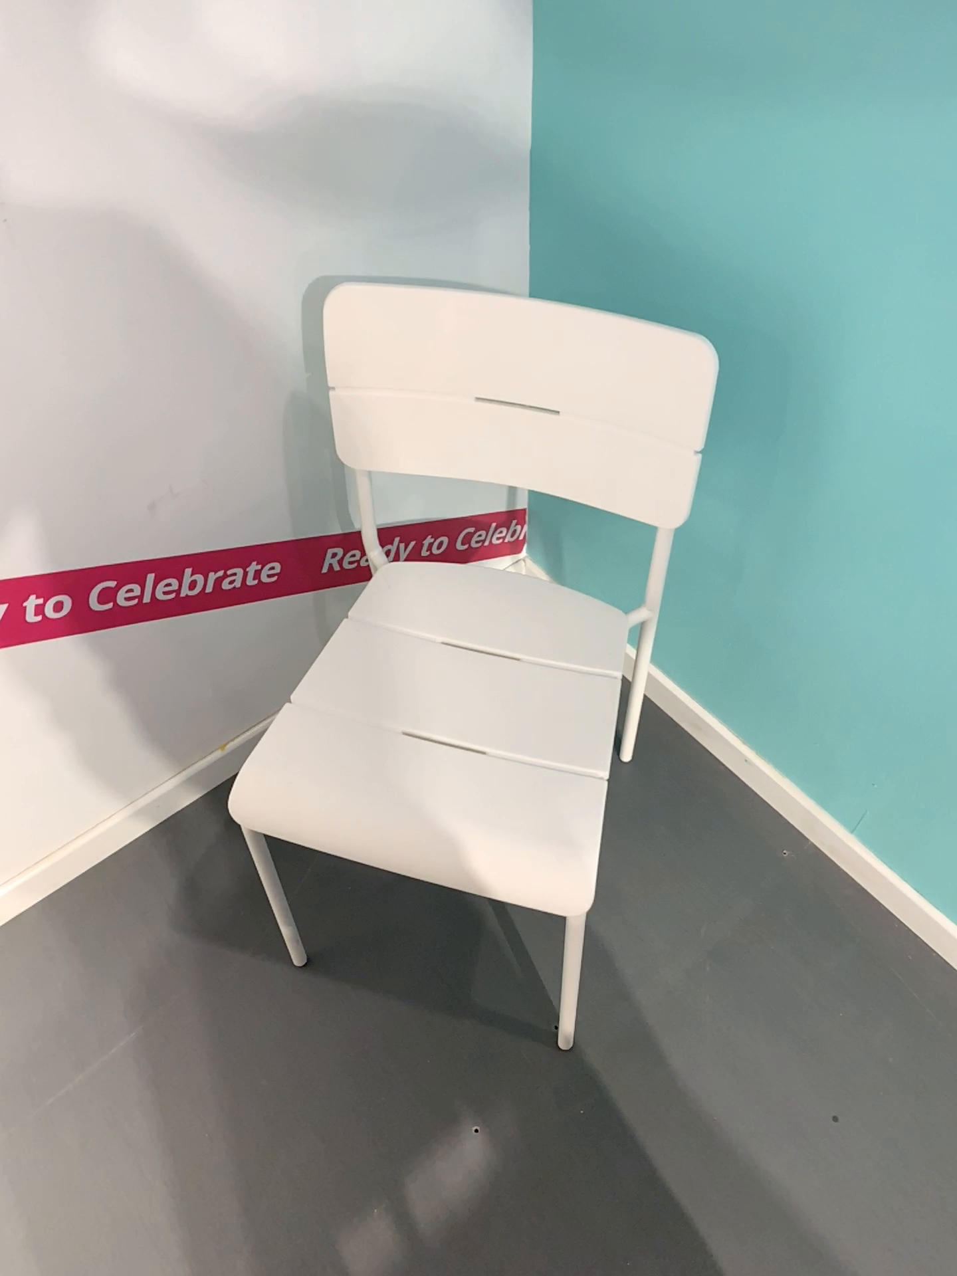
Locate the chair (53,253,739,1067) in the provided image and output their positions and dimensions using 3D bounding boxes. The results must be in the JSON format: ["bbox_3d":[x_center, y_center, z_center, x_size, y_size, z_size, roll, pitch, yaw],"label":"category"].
[{"bbox_3d":[-0.024,0.083,1.108,0.430,0.808,0.451,13,53,12],"label":"chair"}]
